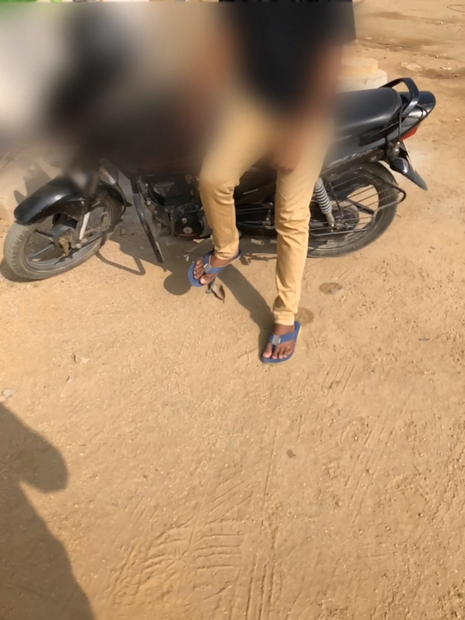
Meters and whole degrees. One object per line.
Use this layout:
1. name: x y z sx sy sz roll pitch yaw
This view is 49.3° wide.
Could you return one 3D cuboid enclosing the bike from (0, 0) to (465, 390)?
1. bike: -0.100 -0.571 2.037 1.693 1.214 0.884 -9 36 -10
